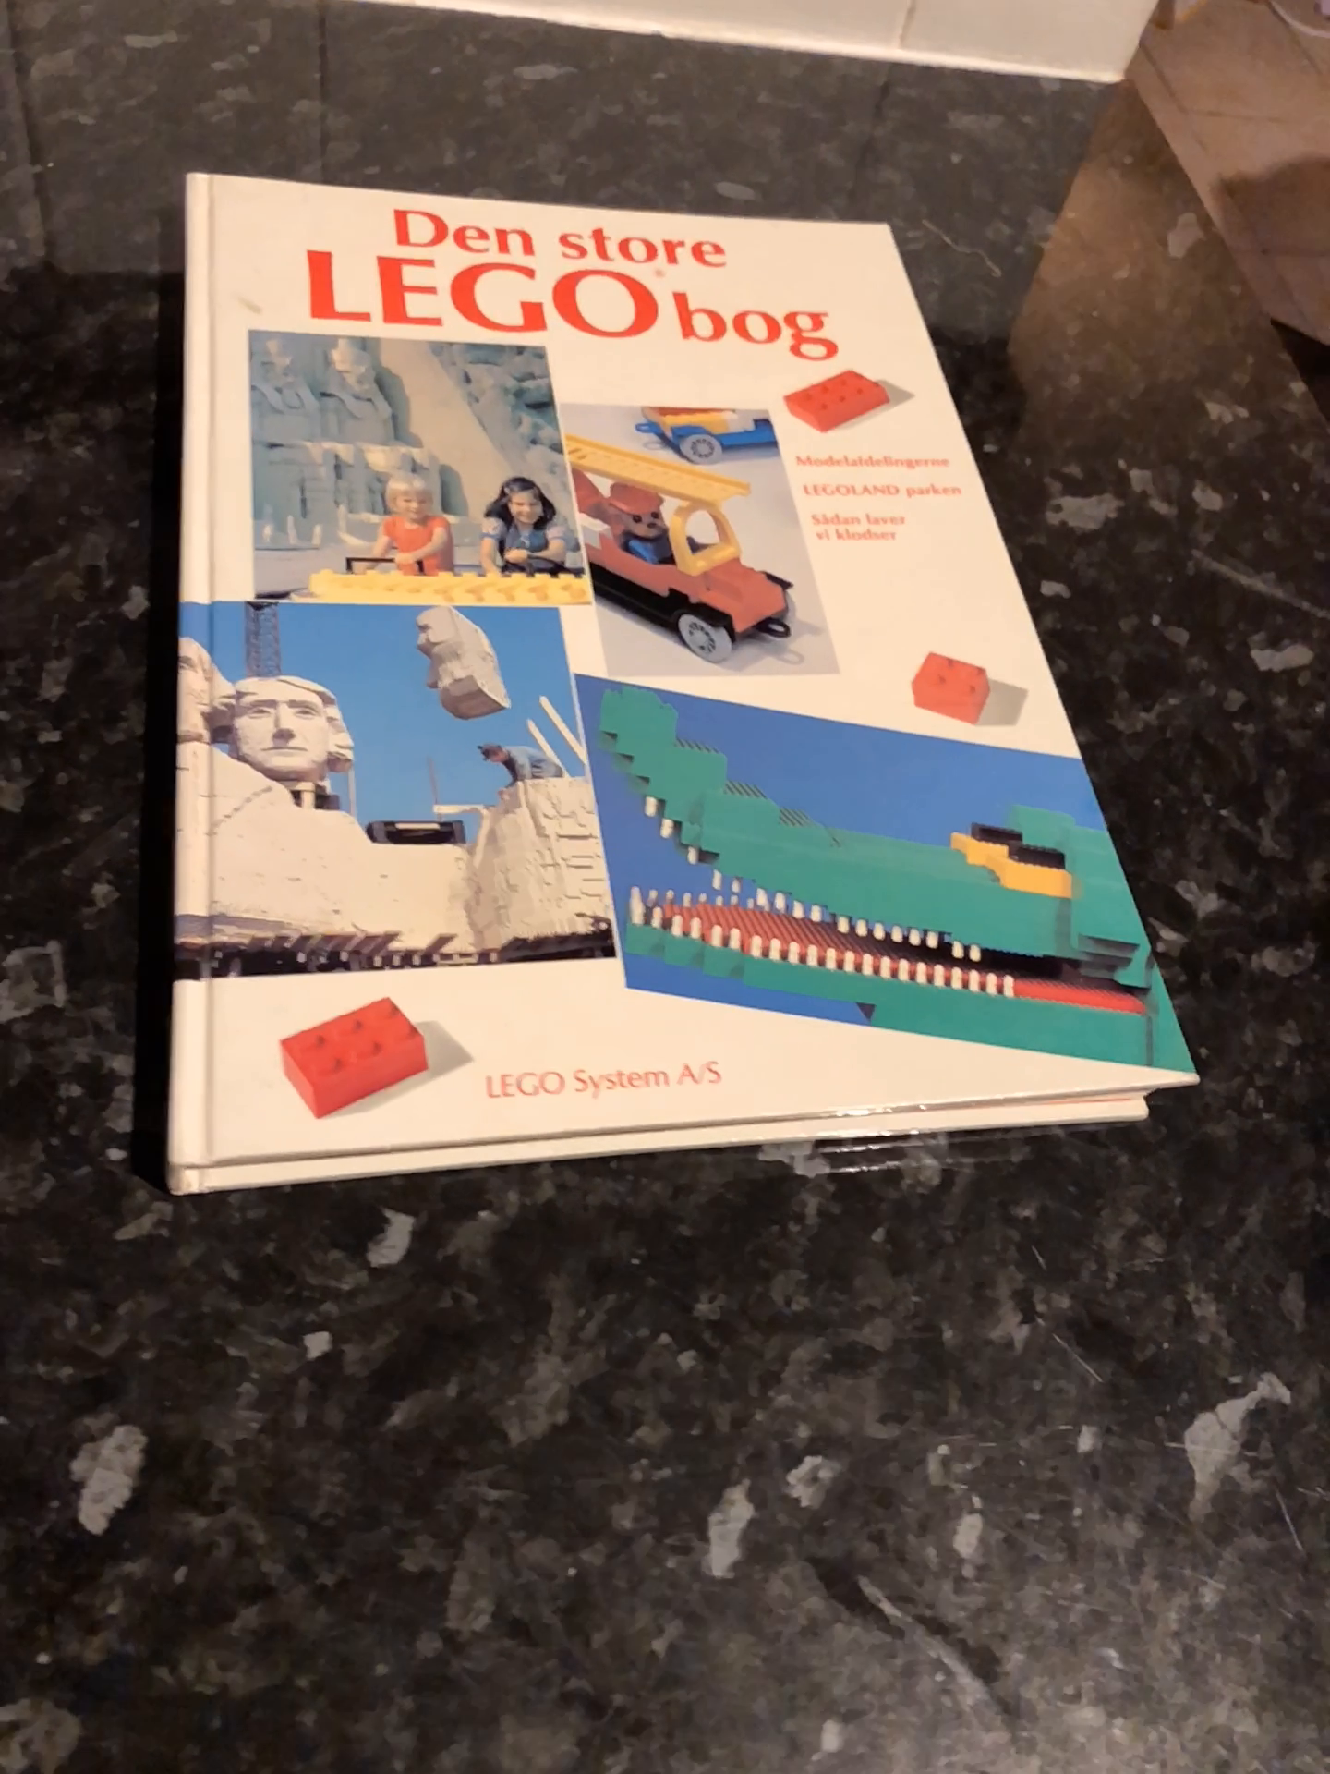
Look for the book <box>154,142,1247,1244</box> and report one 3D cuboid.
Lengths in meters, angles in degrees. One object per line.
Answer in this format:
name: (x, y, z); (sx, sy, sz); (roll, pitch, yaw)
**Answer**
book: (-0.009, -0.069, 0.357); (0.210, 0.030, 0.291); (-2, 59, -15)
